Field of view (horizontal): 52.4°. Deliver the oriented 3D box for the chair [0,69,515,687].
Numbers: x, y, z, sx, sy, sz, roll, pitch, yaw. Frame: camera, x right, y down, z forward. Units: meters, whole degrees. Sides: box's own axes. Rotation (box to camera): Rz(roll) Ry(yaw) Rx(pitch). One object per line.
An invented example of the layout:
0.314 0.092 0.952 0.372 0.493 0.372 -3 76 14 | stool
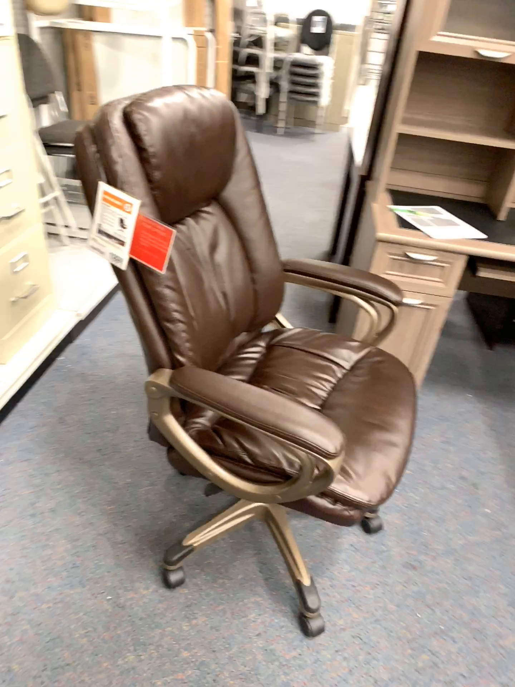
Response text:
0.018 0.033 1.287 0.812 1.112 0.727 19 35 18 | chair
